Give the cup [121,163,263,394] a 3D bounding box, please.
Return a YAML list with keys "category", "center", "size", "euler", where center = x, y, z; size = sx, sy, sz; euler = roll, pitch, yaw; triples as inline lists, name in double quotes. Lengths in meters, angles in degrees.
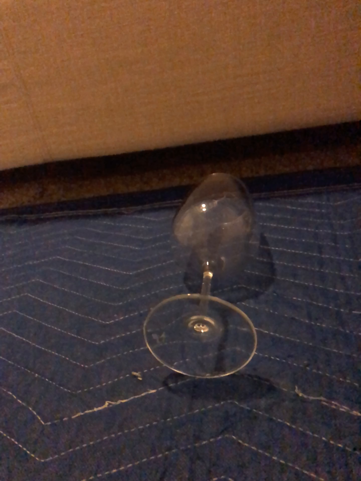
- category: "cup"
  center: [0.027, 0.016, 0.352]
  size: [0.080, 0.090, 0.211]
  euler: [-5, 30, 13]
